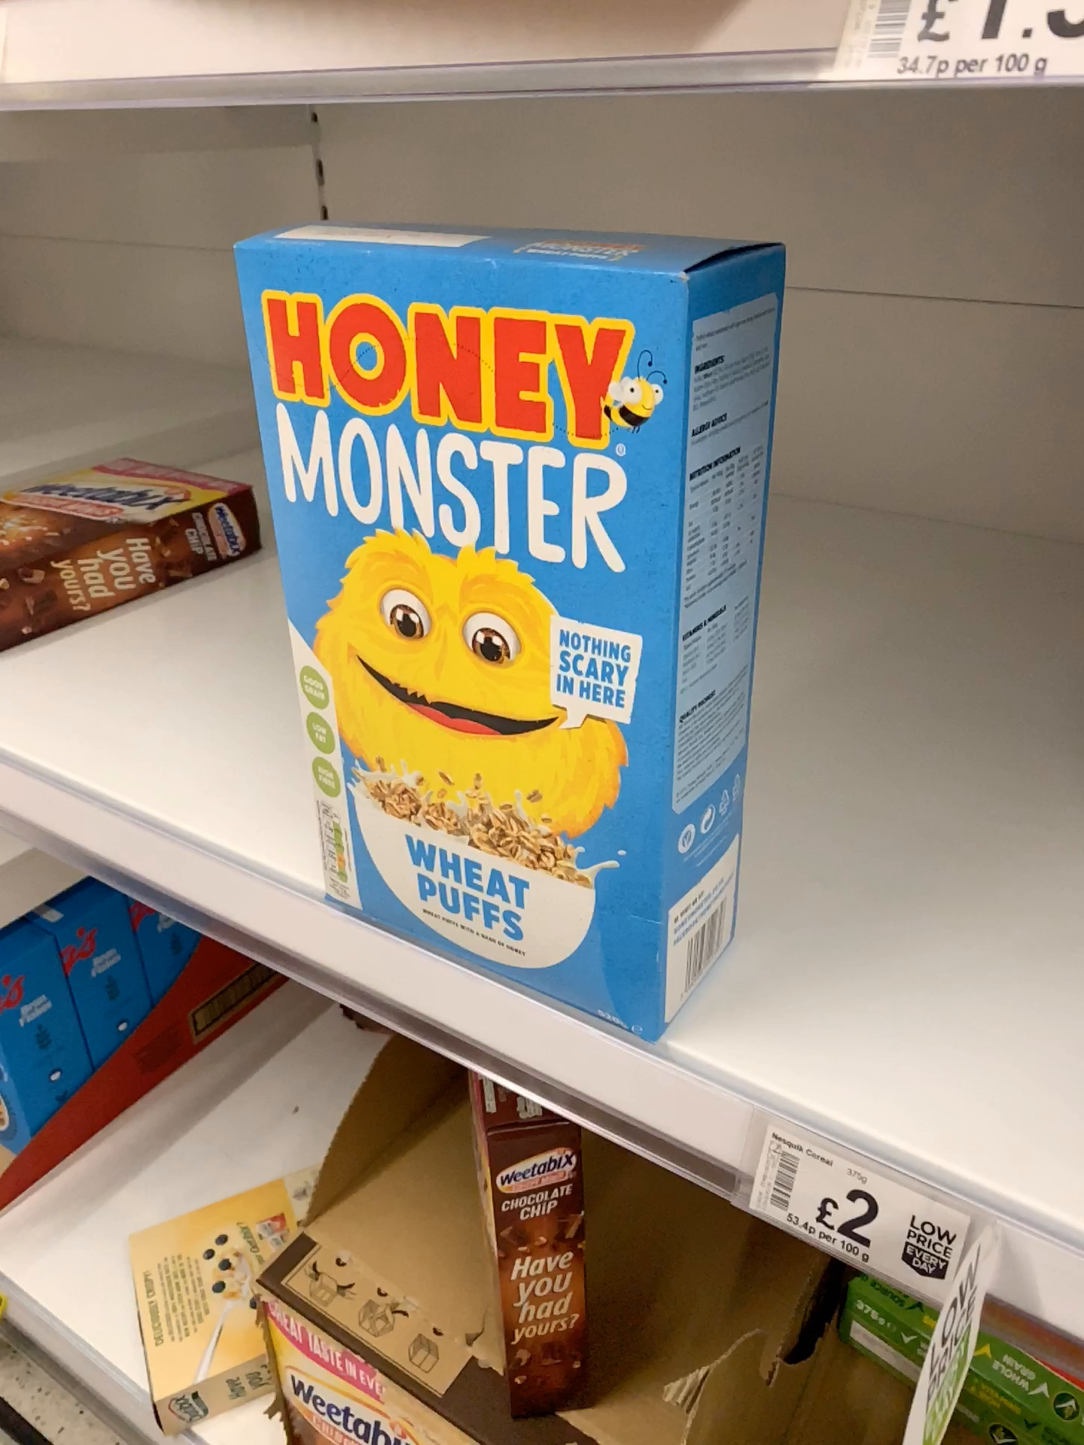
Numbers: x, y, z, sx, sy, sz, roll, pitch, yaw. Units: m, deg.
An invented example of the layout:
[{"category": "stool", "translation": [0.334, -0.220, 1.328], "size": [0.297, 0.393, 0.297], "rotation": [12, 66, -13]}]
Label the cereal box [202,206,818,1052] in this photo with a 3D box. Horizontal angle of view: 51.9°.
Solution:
[{"category": "cereal box", "translation": [-0.013, -0.043, 0.459], "size": [0.200, 0.297, 0.091], "rotation": [17, 33, 30]}]
